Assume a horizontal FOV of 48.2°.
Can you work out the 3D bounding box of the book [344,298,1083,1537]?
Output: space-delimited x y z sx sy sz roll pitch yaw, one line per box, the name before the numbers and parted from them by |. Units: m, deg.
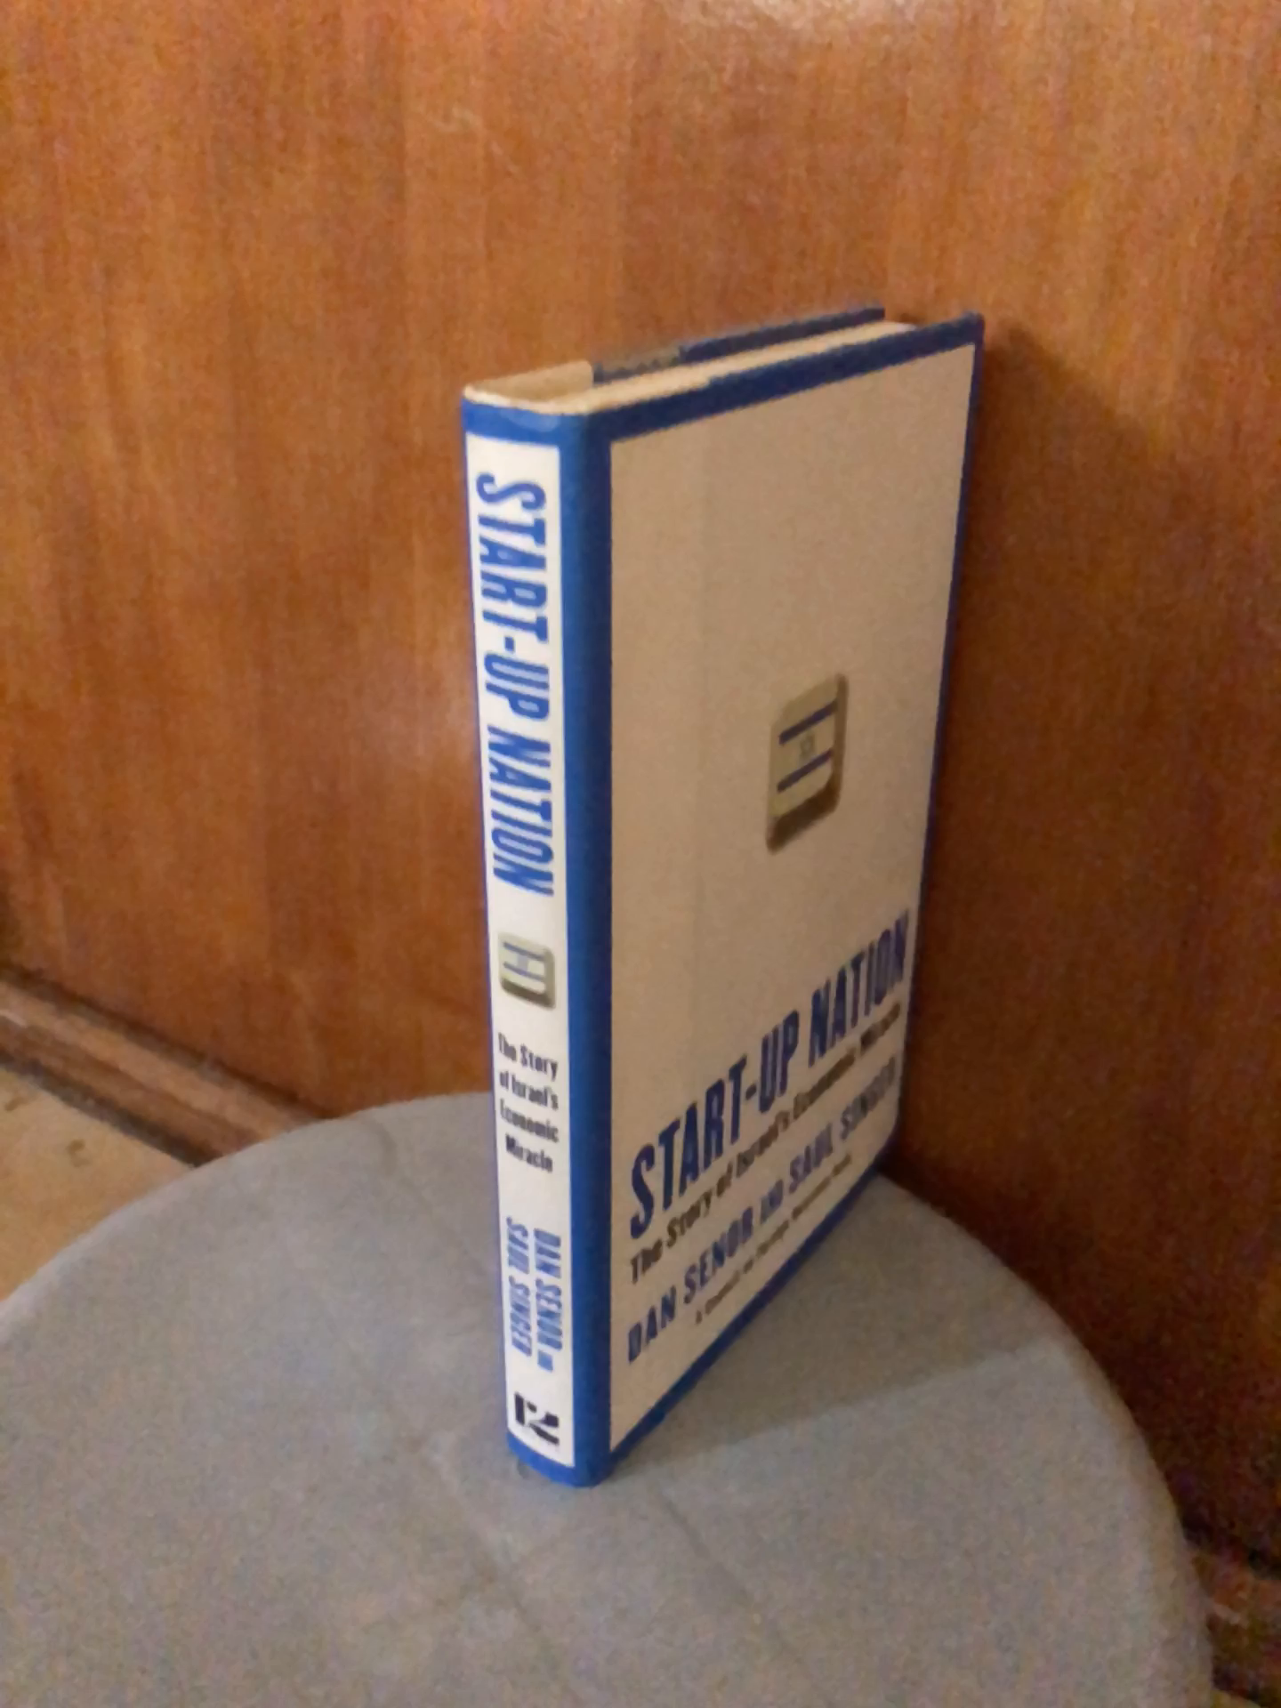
book | 0.029 -0.002 0.332 0.040 0.229 0.201 18 29 34
